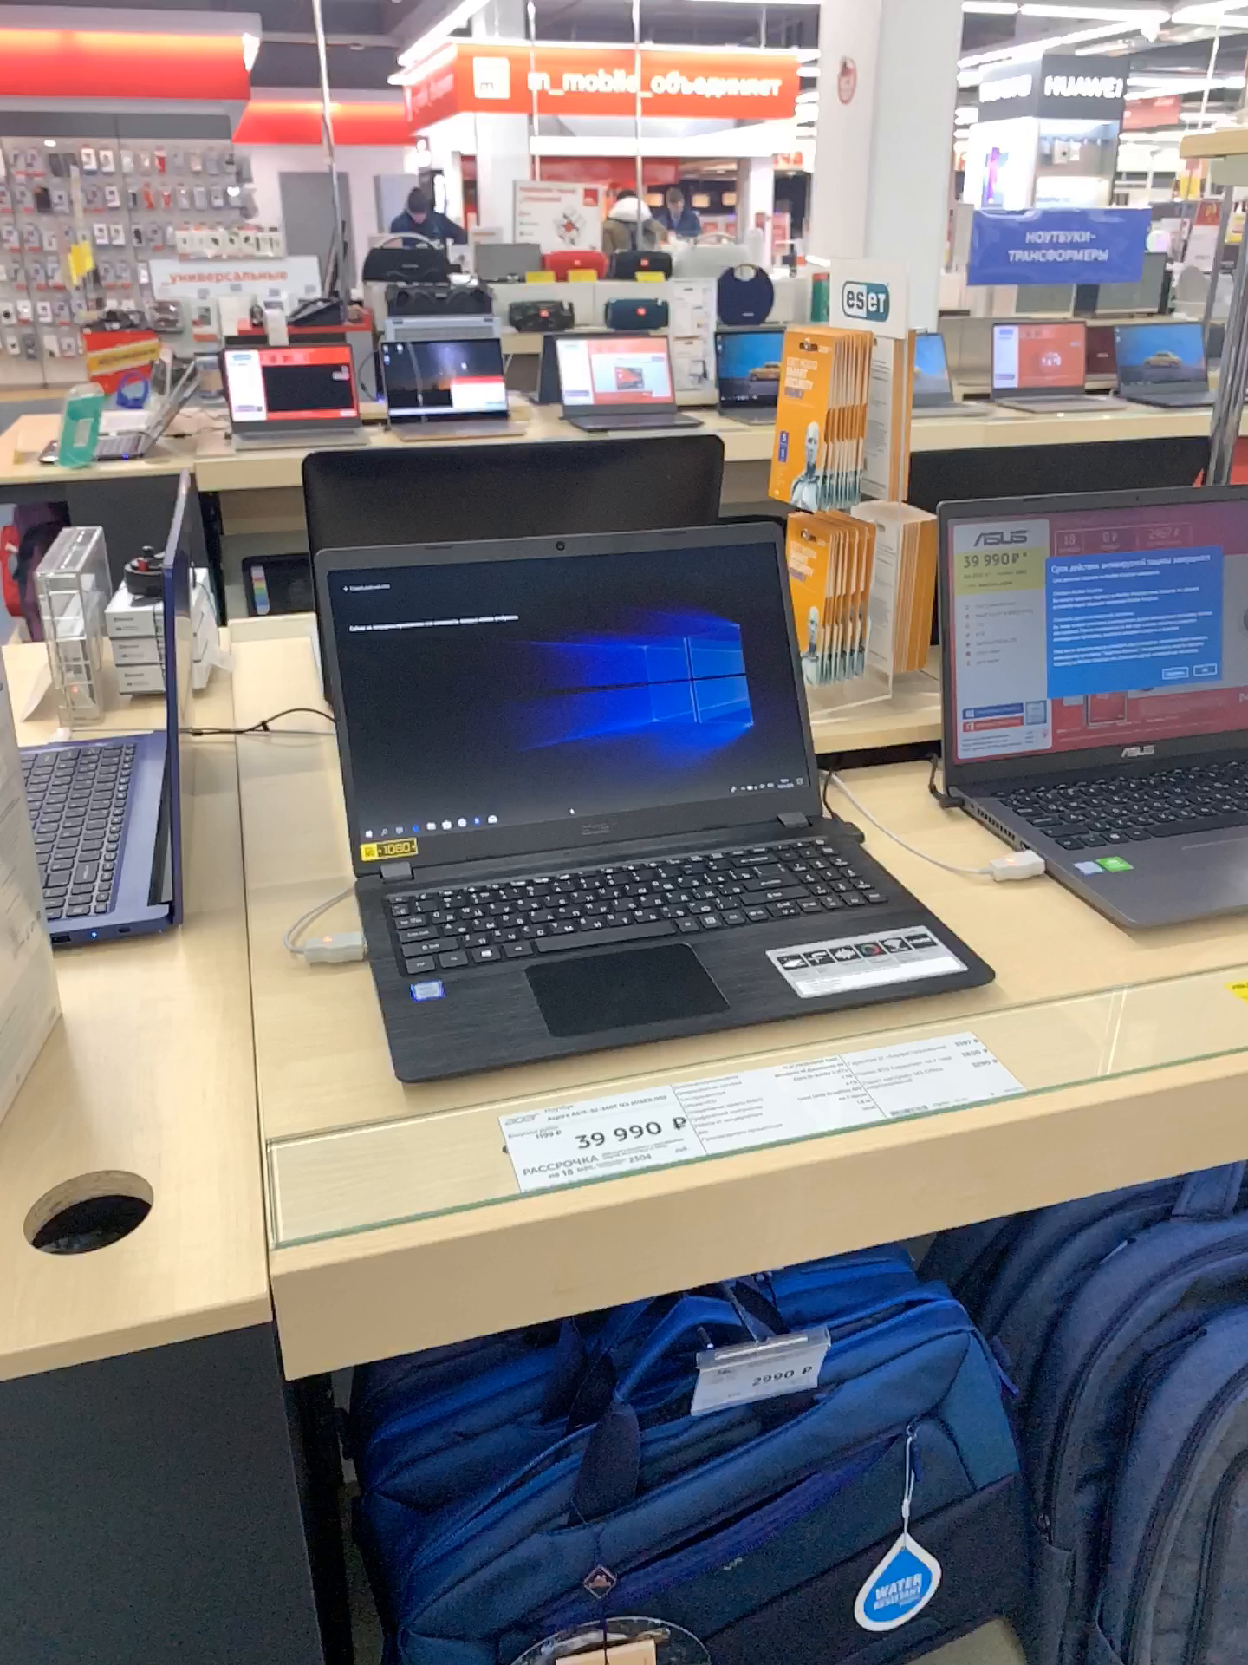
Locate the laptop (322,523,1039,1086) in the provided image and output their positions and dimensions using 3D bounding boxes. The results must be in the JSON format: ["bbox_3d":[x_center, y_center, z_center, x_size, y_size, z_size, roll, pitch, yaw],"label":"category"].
[{"bbox_3d":[0.007,-0.058,0.886,0.376,0.216,0.377,-7,25,-16],"label":"laptop"}]
